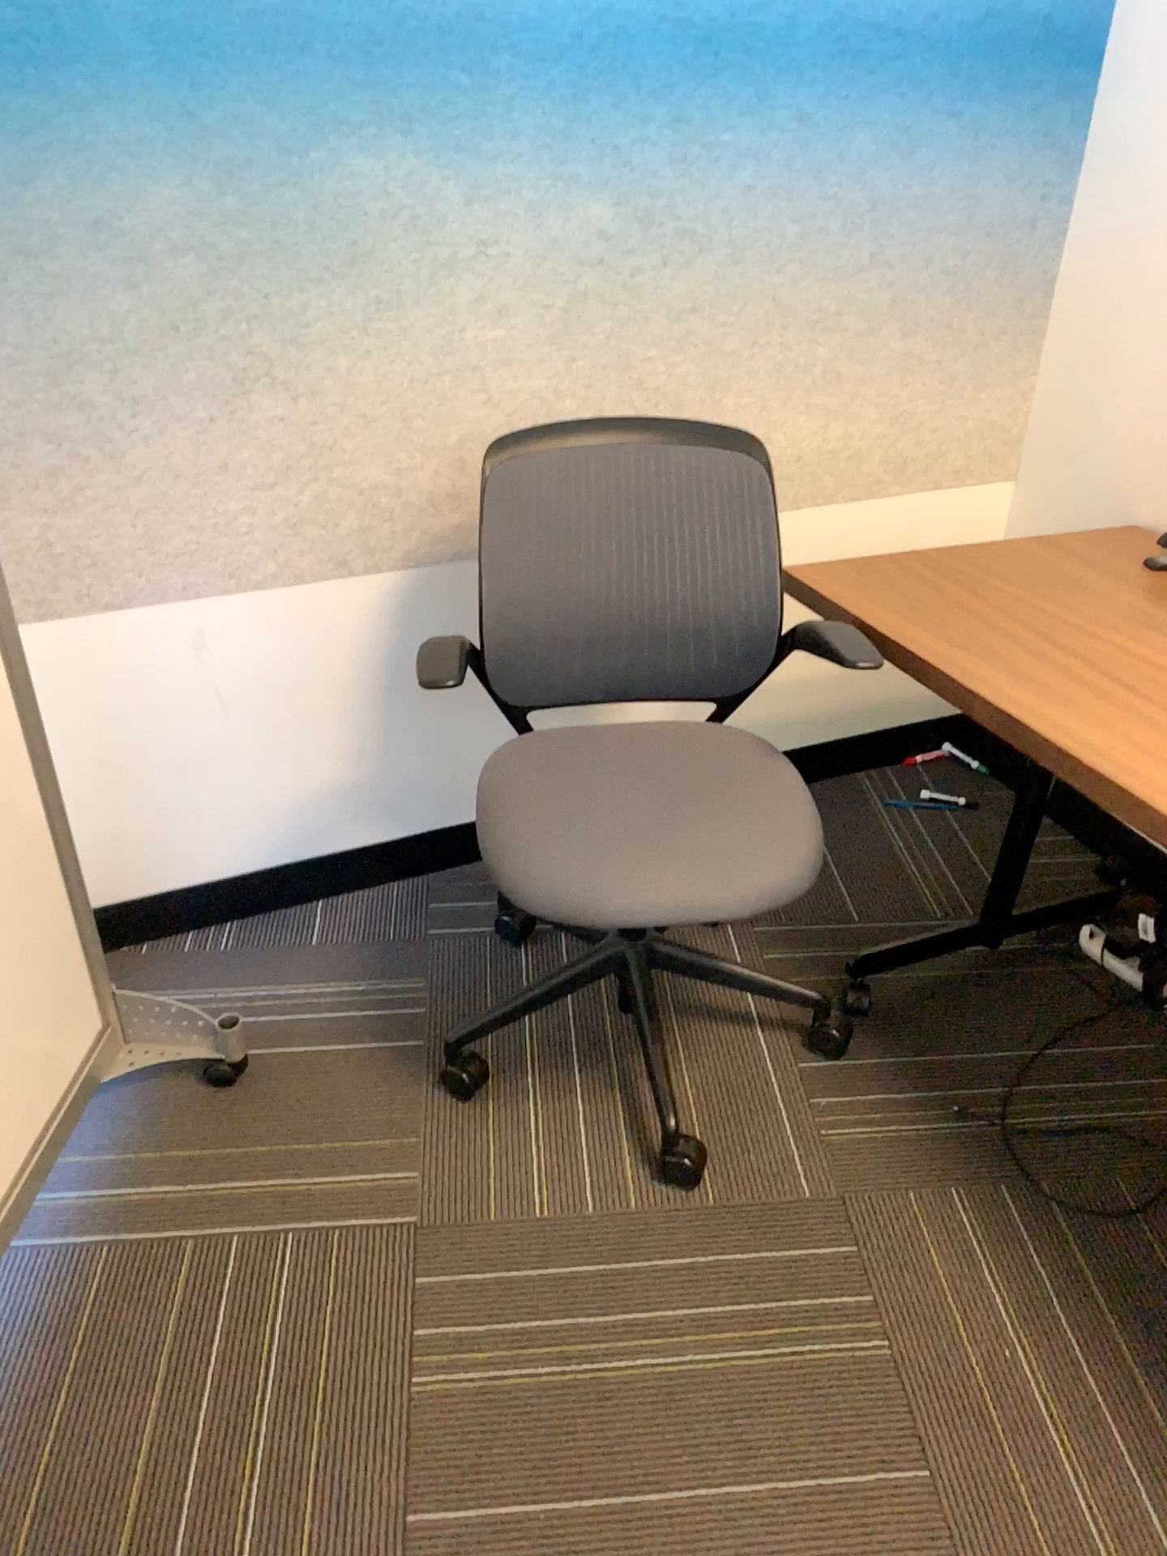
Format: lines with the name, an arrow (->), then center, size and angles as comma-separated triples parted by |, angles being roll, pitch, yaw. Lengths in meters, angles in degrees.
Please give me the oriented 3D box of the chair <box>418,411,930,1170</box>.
chair -> 0.076, 0.013, 1.706 | 0.540, 0.935, 0.533 | -1, 29, -3
